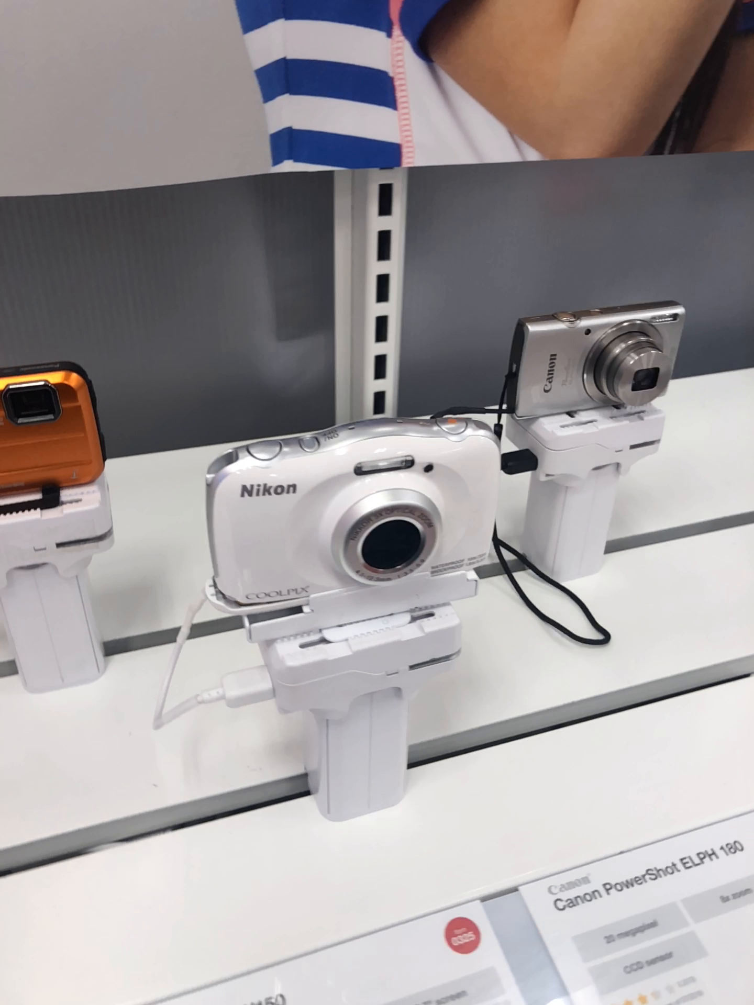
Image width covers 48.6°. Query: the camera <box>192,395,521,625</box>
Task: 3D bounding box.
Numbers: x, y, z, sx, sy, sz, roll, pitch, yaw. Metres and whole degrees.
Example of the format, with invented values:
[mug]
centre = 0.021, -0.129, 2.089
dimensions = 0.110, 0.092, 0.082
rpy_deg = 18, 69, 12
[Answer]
[camera]
centre = -0.007, 0.001, 0.294
dimensions = 0.105, 0.056, 0.032
rpy_deg = -10, 36, -16
